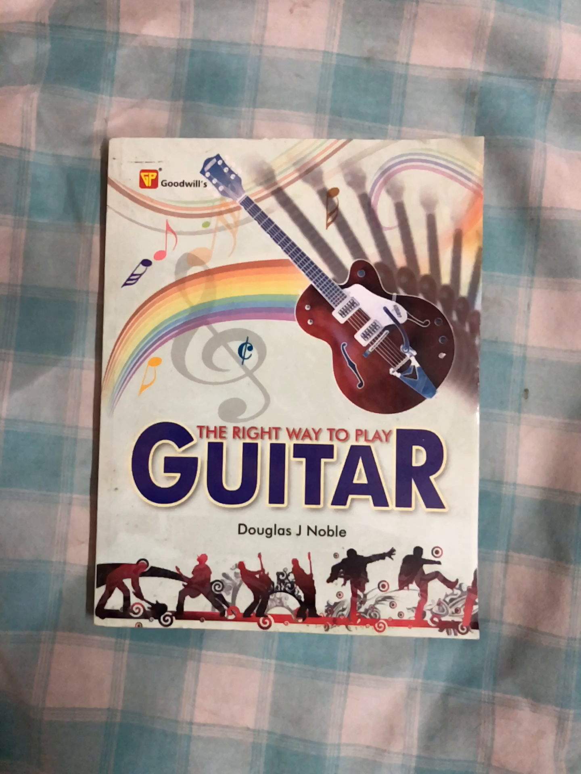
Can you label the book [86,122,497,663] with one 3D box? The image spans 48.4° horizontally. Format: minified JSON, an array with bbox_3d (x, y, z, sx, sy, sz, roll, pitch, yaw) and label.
[{"bbox_3d":[0.002,-0.001,0.305,0.180,0.030,0.240,1,87,2],"label":"book"}]
